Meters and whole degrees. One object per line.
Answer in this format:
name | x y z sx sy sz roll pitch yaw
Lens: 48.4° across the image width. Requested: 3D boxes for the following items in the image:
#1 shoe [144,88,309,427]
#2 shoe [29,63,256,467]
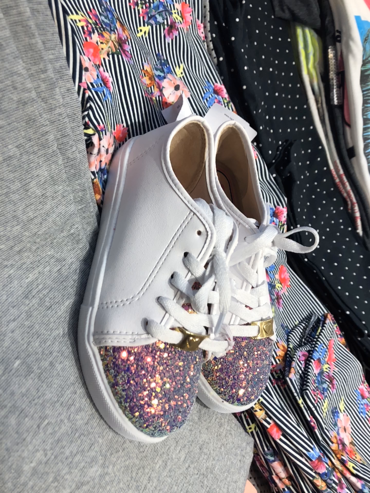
shoe | 0.026 0.009 0.288 0.081 0.070 0.200 11 73 -38
shoe | -0.015 0.011 0.236 0.080 0.070 0.190 23 65 -42
